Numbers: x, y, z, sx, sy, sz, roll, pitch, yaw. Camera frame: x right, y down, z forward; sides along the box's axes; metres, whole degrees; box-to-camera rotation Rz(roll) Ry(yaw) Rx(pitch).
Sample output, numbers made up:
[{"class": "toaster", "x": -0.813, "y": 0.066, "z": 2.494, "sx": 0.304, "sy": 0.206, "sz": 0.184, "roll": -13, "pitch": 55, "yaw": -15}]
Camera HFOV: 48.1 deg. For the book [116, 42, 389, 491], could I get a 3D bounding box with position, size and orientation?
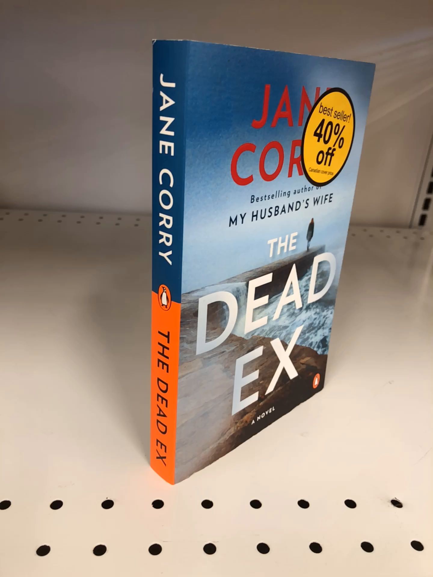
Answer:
[{"class": "book", "x": 0.021, "y": -0.015, "z": 0.271, "sx": 0.146, "sy": 0.211, "sz": 0.040, "roll": -19, "pitch": 32, "yaw": -40}]
